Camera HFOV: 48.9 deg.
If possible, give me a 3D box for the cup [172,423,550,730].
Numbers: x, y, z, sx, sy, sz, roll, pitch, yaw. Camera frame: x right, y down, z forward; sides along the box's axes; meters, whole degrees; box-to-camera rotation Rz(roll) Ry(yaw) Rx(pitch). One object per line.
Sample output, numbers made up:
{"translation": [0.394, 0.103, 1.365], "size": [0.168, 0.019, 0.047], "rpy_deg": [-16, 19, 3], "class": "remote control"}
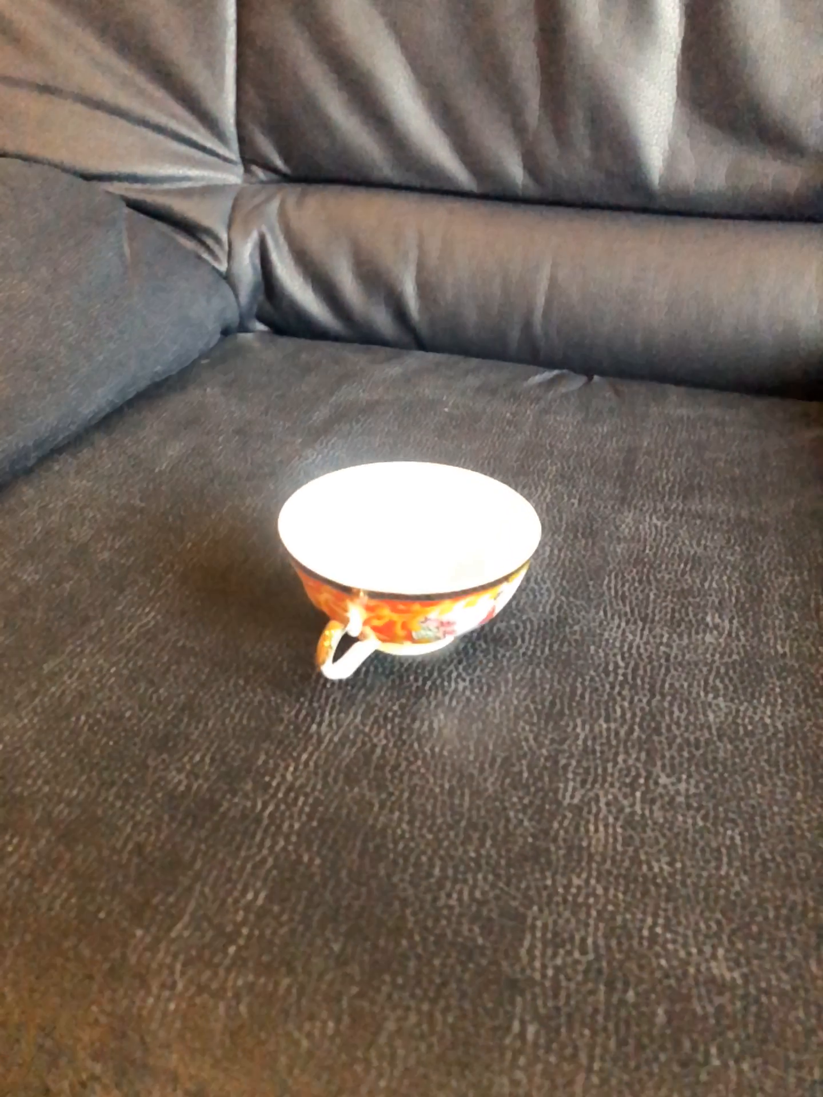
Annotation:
{"translation": [-0.013, 0.003, 0.336], "size": [0.100, 0.041, 0.108], "rpy_deg": [1, 33, 0], "class": "cup"}
